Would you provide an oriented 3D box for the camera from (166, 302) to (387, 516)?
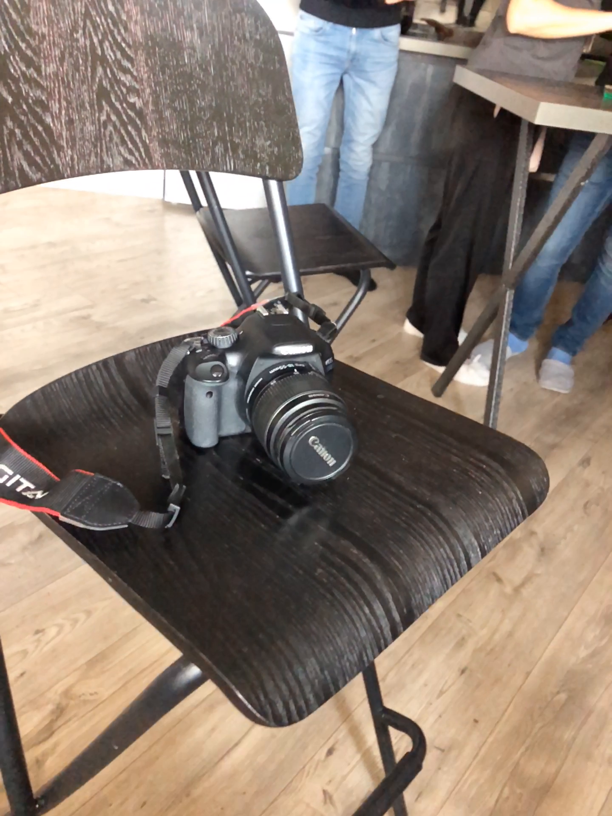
[{"bbox_3d":[-0.032,-0.008,0.521,0.120,0.092,0.141,-6,35,-23],"label":"camera"}]
